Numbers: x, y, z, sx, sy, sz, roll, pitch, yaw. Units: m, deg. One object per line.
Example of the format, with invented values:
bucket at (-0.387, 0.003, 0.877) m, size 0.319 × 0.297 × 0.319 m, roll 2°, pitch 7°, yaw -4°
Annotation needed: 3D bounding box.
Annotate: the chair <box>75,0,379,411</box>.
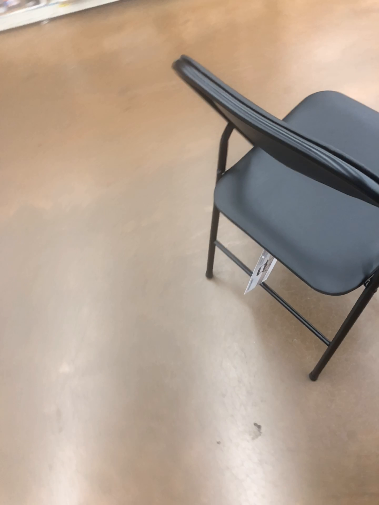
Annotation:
chair at (0.262, -0.106, 0.849) m, size 0.490 × 0.759 × 0.521 m, roll -42°, pitch 61°, yaw -9°
